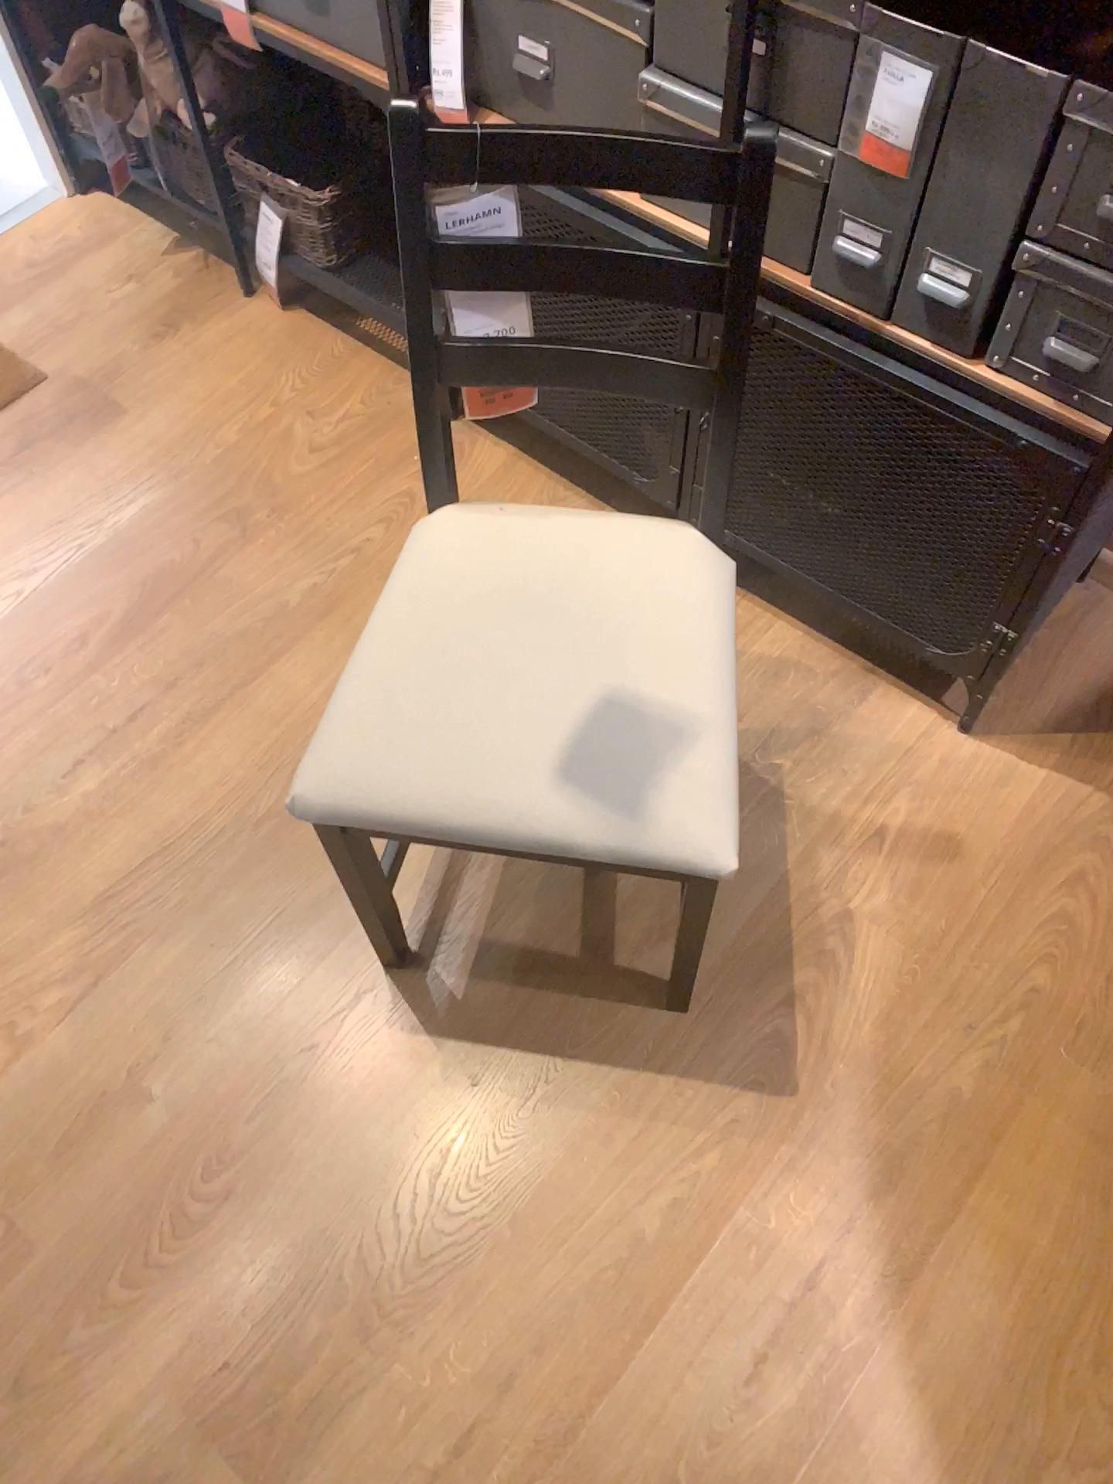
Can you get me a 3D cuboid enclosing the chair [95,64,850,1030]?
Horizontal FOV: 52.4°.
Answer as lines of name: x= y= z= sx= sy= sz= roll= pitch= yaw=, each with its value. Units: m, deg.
chair: x=-0.011 y=-0.105 z=1.069 sx=0.400 sy=0.768 sz=0.471 roll=8 pitch=60 yaw=7
